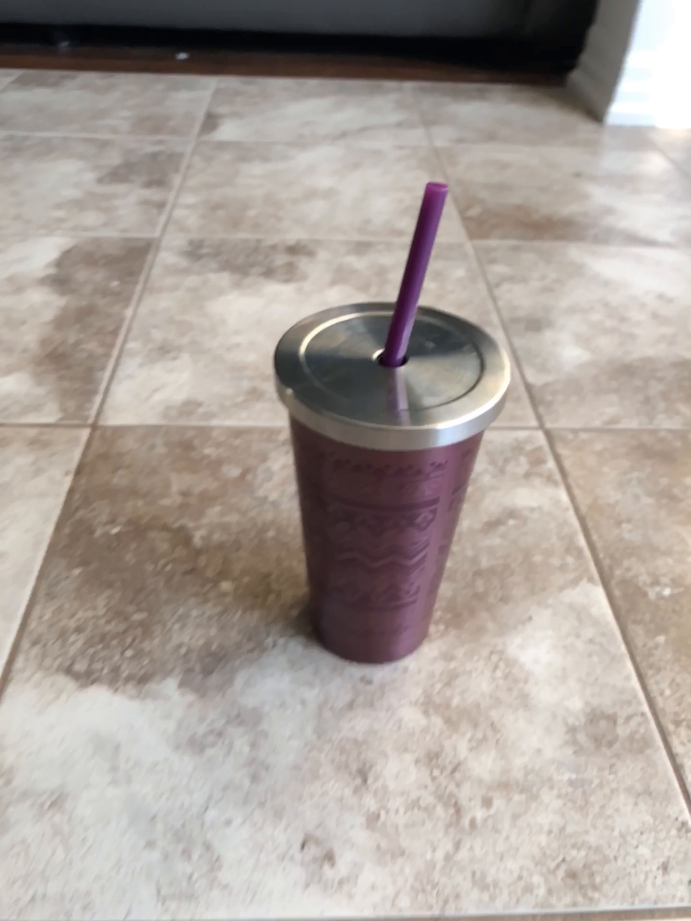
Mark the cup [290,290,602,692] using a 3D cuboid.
[{"bbox_3d":[0.034,0.016,0.387,0.111,0.165,0.103,2,39,-1],"label":"cup"}]
